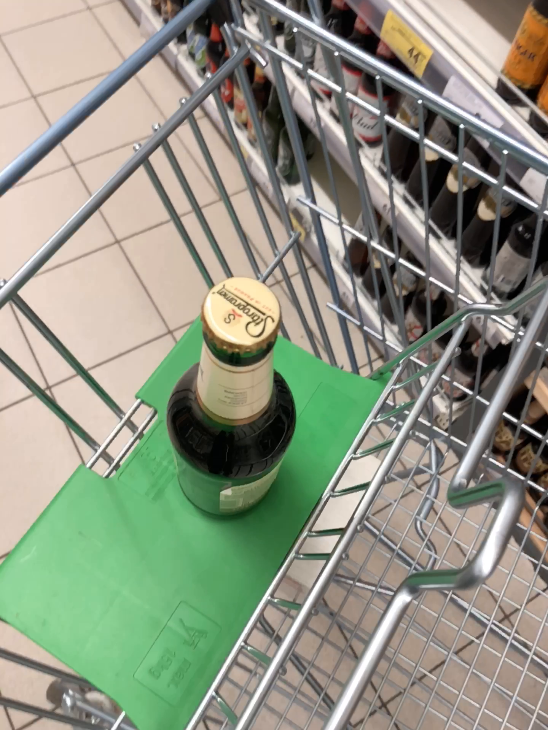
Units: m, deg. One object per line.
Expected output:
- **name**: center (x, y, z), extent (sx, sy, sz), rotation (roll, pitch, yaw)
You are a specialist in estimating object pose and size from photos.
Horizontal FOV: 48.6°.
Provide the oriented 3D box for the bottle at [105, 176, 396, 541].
- **bottle**: center (-0.016, 0.023, 0.314), extent (0.070, 0.239, 0.070), rotation (2, 66, -4)
